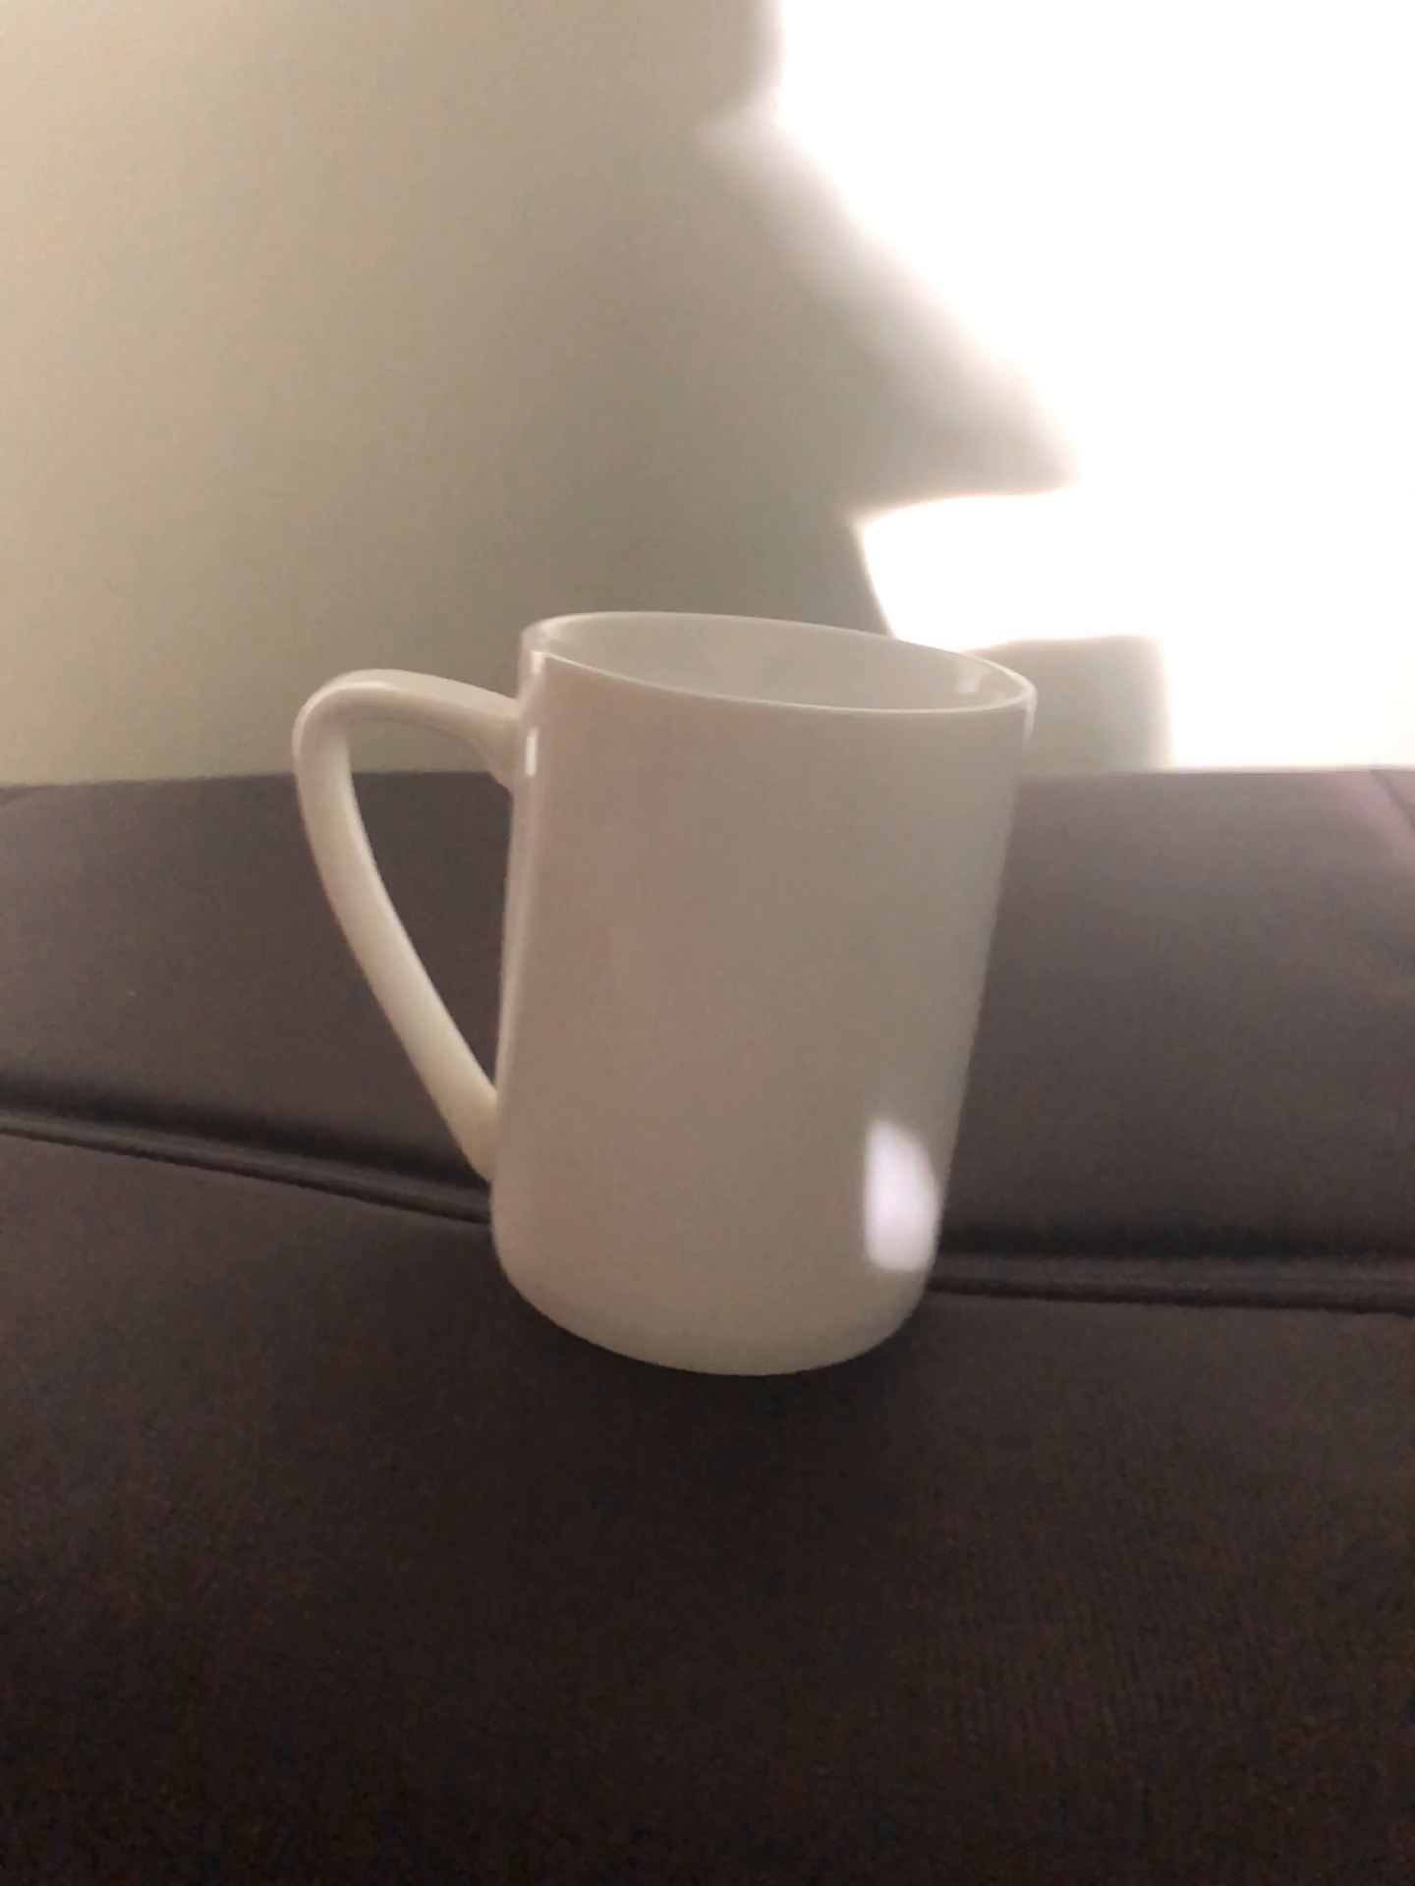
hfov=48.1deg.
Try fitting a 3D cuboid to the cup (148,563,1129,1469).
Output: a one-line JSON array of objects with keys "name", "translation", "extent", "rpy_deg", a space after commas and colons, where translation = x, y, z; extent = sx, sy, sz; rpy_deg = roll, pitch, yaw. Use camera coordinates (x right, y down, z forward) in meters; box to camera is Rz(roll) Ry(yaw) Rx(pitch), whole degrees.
[{"name": "cup", "translation": [-0.007, -0.003, 0.240], "extent": [0.108, 0.090, 0.097], "rpy_deg": [14, 19, 21]}]
